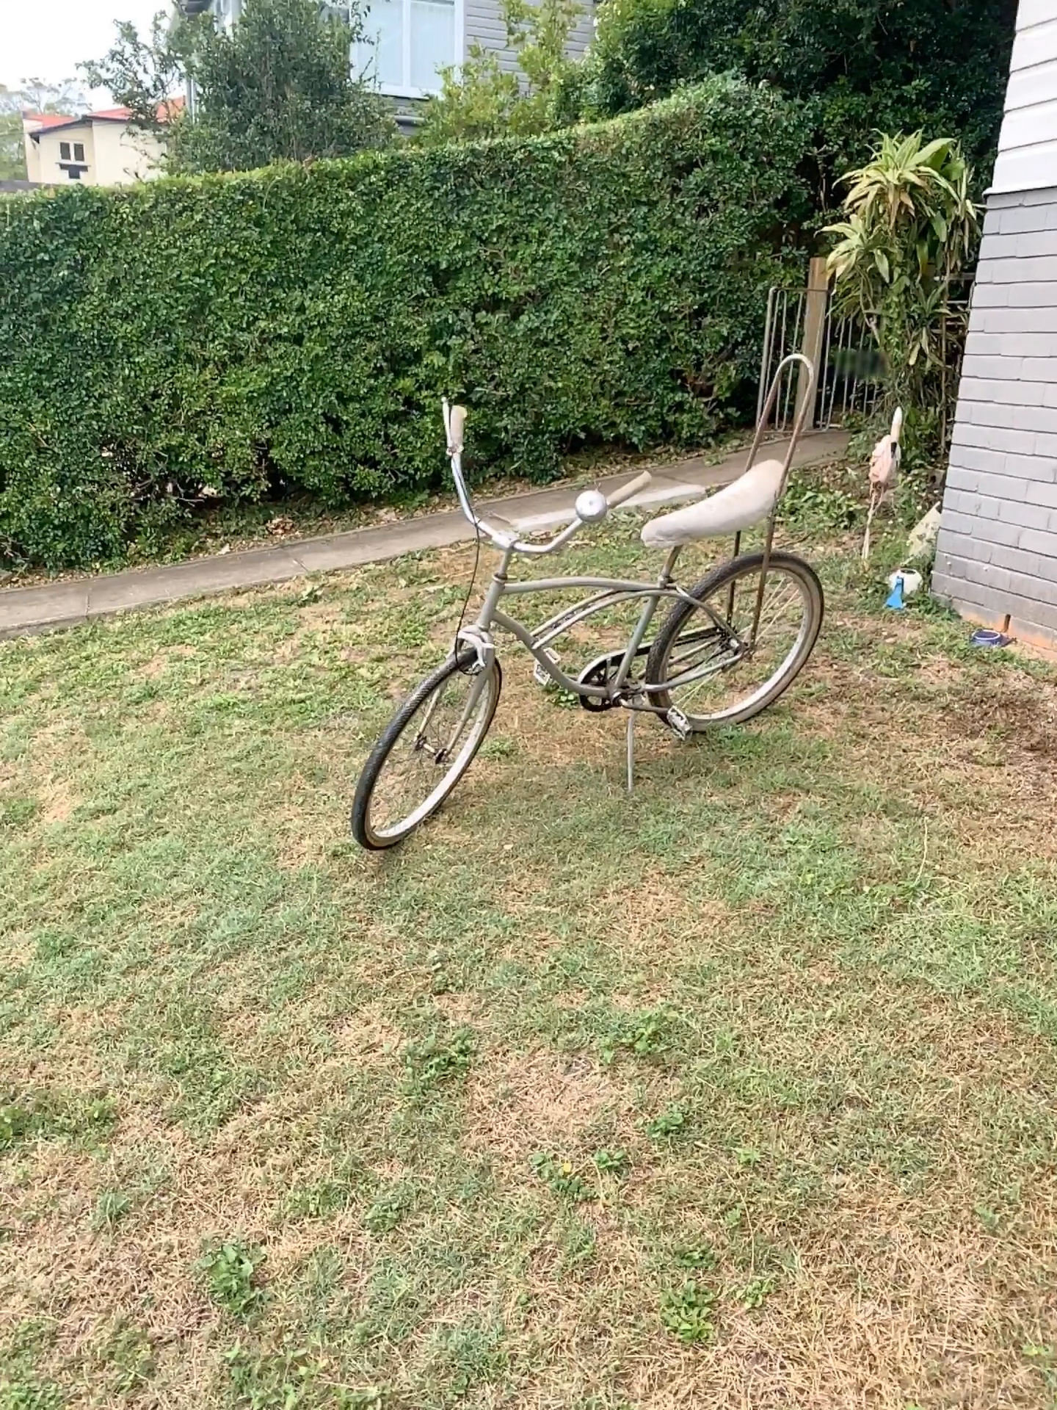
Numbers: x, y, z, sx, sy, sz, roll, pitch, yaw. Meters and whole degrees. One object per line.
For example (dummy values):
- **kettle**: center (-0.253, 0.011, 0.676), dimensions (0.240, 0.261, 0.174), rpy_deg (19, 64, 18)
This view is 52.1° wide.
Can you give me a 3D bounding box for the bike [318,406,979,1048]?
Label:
- **bike**: center (0.308, -0.094, 2.990), dimensions (1.601, 0.991, 0.803), rpy_deg (-19, 26, -27)
